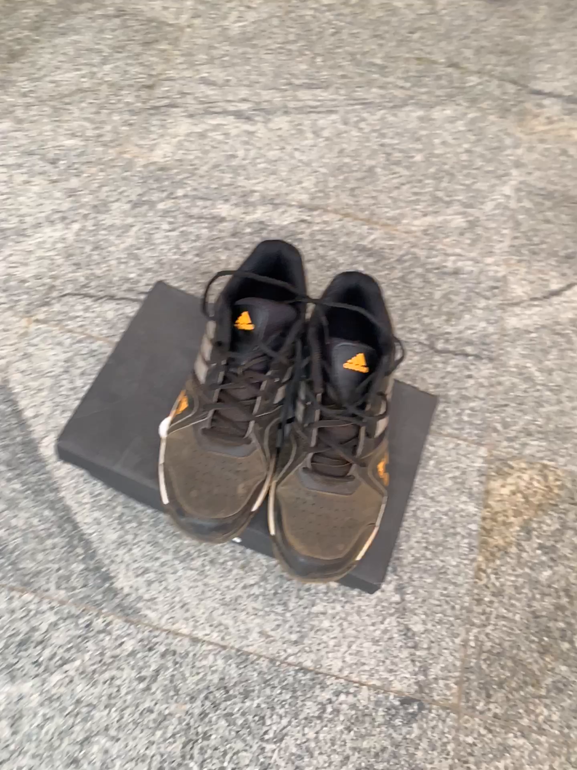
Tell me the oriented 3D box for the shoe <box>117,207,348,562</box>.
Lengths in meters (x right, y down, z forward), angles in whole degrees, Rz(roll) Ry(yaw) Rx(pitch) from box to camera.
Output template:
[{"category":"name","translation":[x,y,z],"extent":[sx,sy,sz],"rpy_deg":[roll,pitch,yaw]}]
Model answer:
[{"category":"shoe","translation":[-0.041,-0.007,0.536],"extent":[0.110,0.090,0.291],"rpy_deg":[17,64,-1]}]

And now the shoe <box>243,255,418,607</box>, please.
[{"category":"shoe","translation":[0.045,0.034,0.554],"extent":[0.110,0.090,0.301],"rpy_deg":[9,64,4]}]
